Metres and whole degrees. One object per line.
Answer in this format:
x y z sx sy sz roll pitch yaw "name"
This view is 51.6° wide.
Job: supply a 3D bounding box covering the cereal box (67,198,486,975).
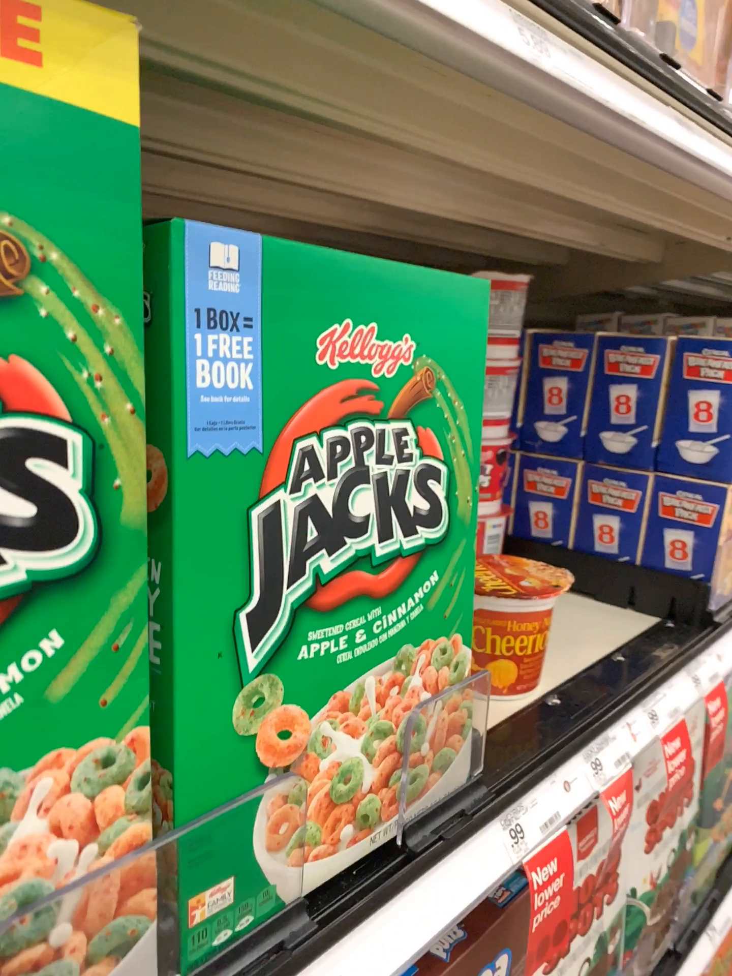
-0.026 0.035 0.362 0.060 0.289 0.200 7 10 41 "cereal box"
